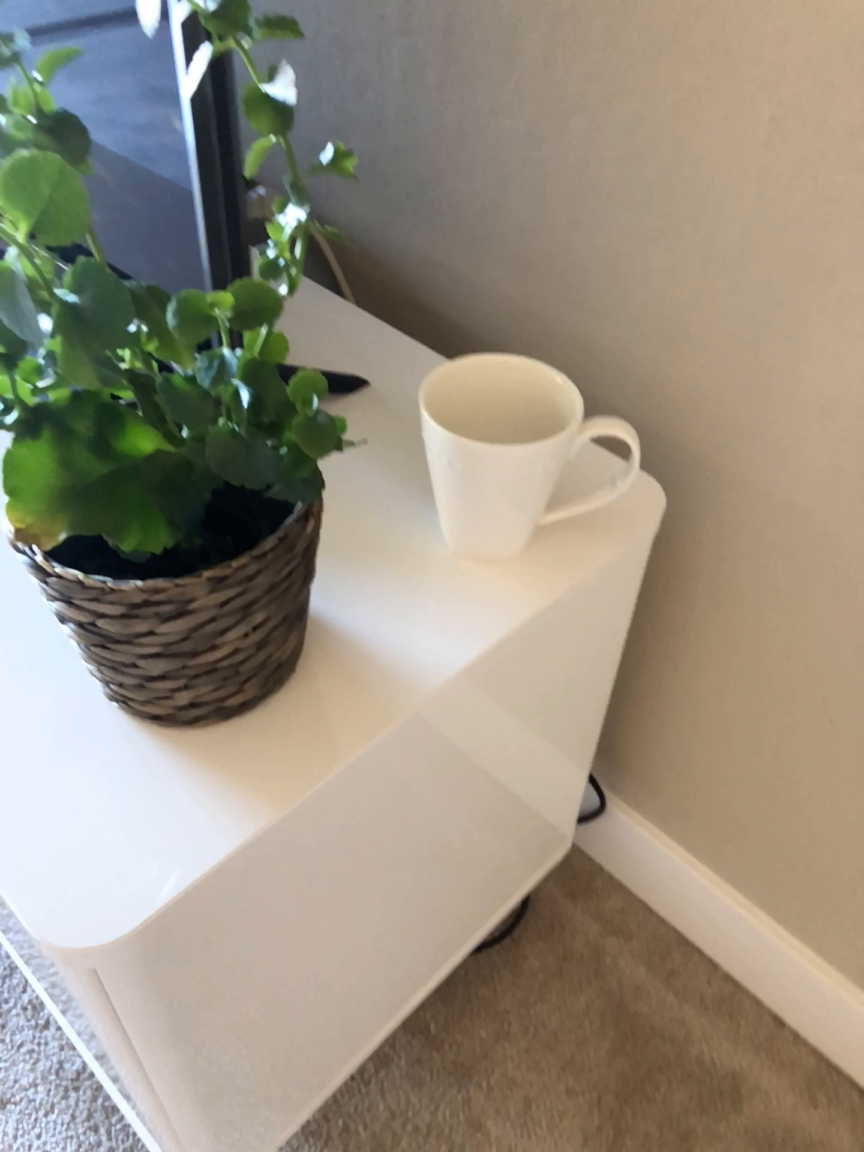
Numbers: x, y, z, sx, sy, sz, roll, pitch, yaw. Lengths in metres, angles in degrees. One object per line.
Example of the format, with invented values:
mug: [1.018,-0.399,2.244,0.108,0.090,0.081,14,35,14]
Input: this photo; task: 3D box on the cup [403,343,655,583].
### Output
cup: [0.055,-0.067,0.563,0.130,0.090,0.090,7,44,4]
